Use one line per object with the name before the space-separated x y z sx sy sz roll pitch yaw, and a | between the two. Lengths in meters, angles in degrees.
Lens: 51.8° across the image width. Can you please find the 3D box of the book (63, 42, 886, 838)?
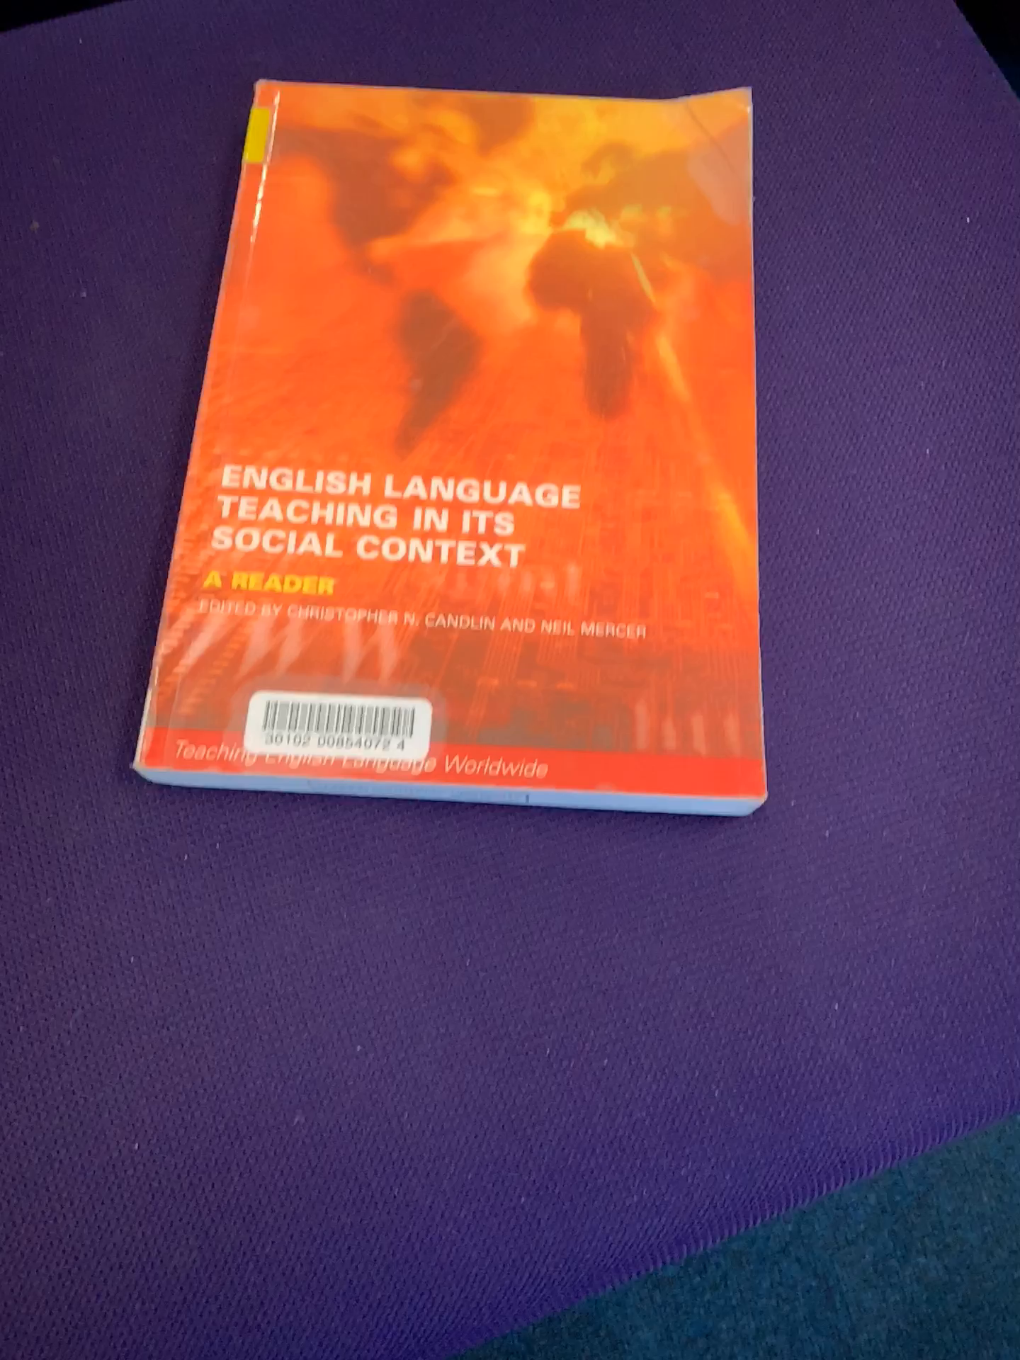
book | -0.005 -0.091 0.352 0.220 0.050 0.271 2 69 1
